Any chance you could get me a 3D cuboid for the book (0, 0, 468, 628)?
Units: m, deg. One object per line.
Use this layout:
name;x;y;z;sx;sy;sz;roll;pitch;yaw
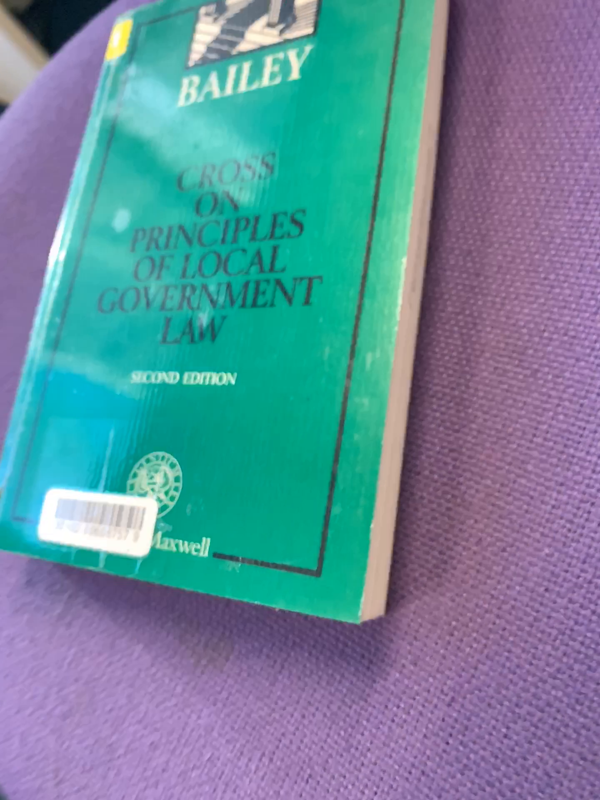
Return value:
book;-0.032;-0.054;0.236;0.161;0.040;0.236;1;72;27
